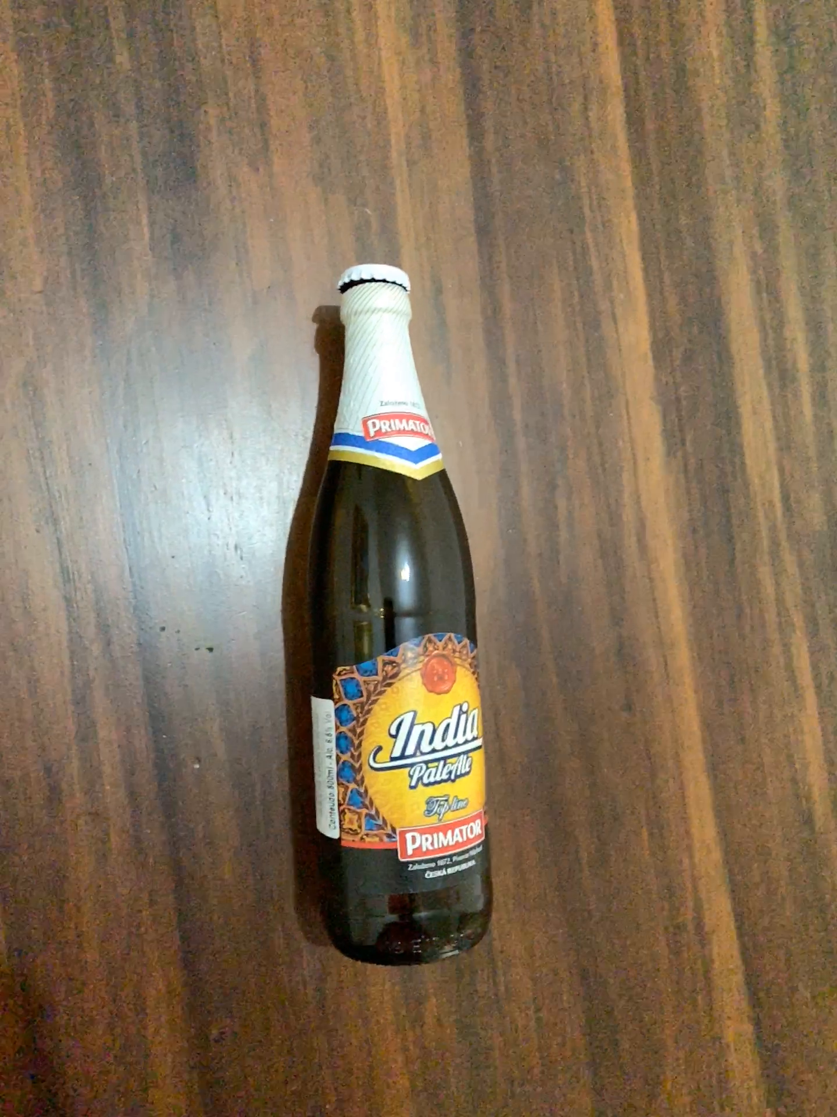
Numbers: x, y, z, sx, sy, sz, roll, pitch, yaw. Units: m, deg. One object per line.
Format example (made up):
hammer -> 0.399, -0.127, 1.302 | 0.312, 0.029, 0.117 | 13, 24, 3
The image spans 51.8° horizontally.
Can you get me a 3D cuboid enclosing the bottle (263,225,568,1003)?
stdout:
bottle -> -0.003, 0.017, 0.334 | 0.080, 0.060, 0.260 | -3, 88, -29
